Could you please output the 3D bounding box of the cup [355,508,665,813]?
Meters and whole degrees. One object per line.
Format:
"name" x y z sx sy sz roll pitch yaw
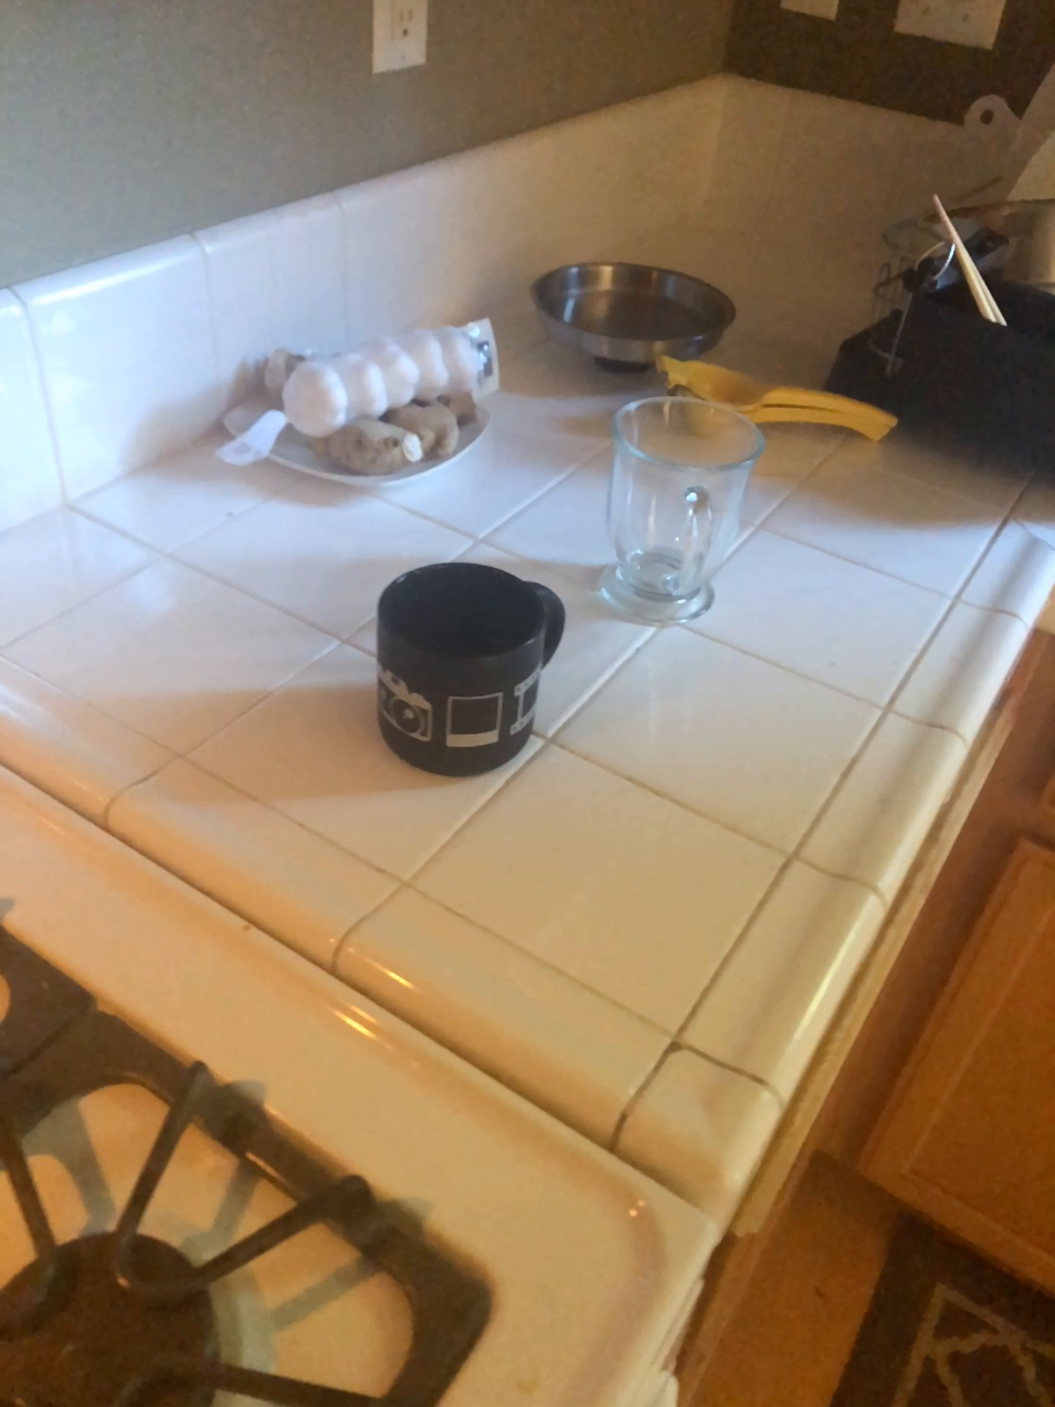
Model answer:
"cup" -0.012 -0.028 0.640 0.131 0.089 0.100 -27 50 -34

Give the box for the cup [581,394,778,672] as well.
"cup" 0.095 -0.113 0.751 0.100 0.109 0.141 7 39 1
